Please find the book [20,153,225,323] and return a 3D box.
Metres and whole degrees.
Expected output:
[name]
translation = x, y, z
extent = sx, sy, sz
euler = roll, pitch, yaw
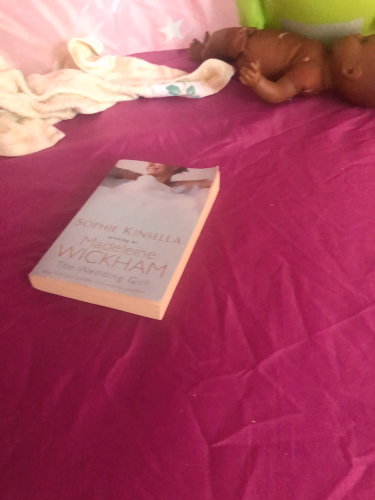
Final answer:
[book]
translation = -0.052, -0.028, 0.428
extent = 0.135, 0.027, 0.203
euler = 12, 45, 14
